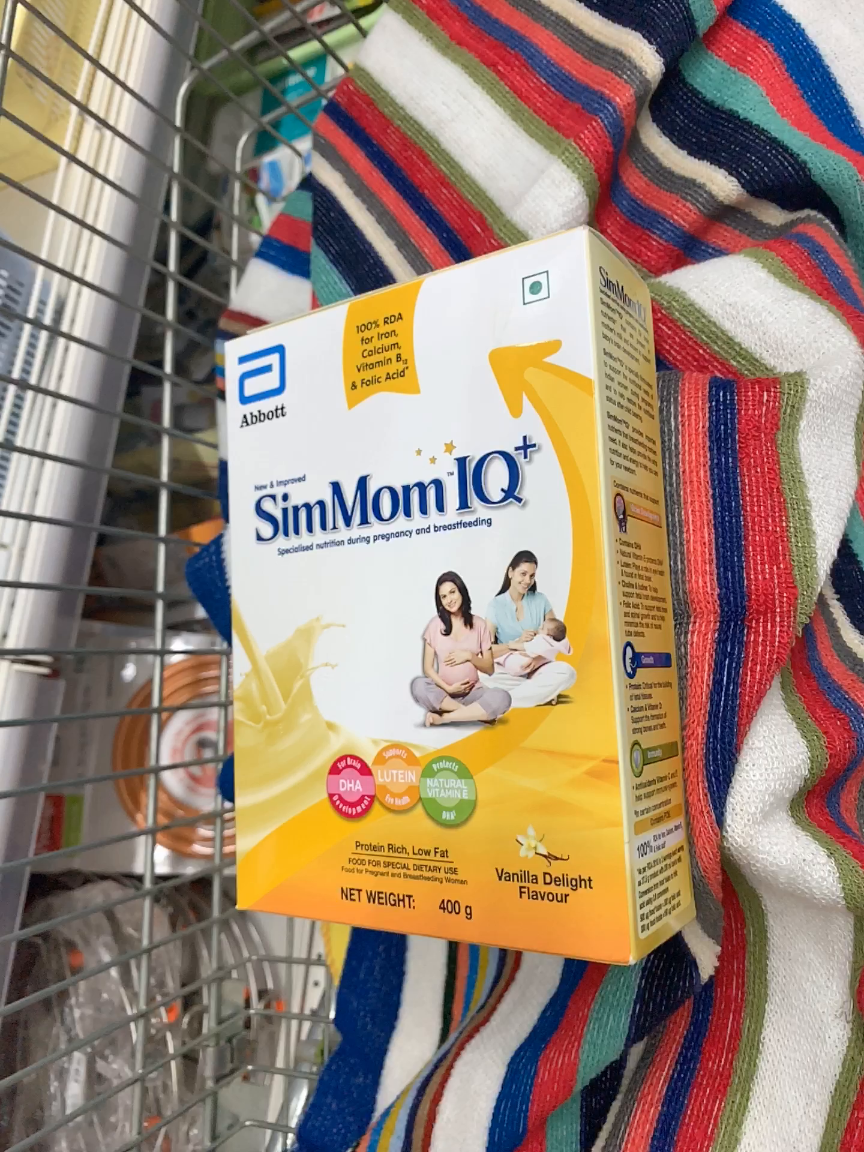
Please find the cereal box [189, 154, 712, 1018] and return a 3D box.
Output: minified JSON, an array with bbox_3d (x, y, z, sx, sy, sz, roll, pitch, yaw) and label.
[{"bbox_3d":[-0.002,0.005,0.265,0.141,0.050,0.200,-6,83,32],"label":"cereal box"}]
